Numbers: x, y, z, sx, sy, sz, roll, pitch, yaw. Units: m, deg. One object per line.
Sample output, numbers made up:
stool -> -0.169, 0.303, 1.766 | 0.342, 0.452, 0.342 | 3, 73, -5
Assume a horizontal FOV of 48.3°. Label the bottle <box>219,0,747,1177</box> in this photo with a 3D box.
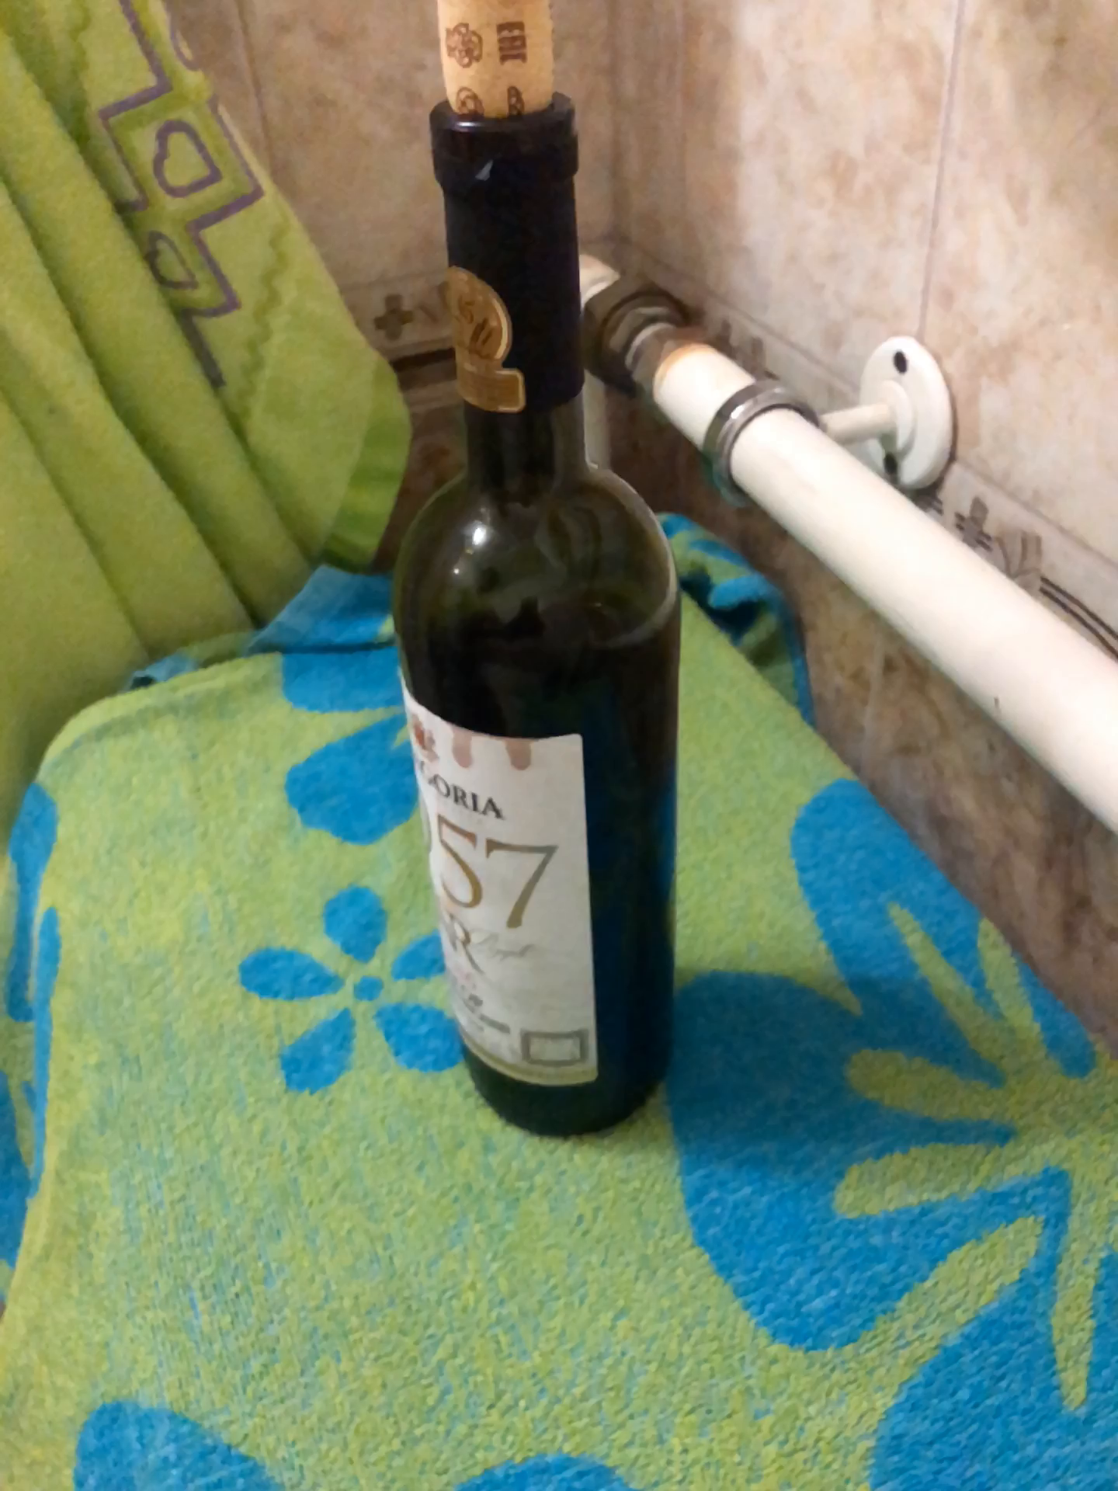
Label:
bottle -> -0.007, -0.022, 0.327 | 0.080, 0.318, 0.080 | -3, 39, 3
